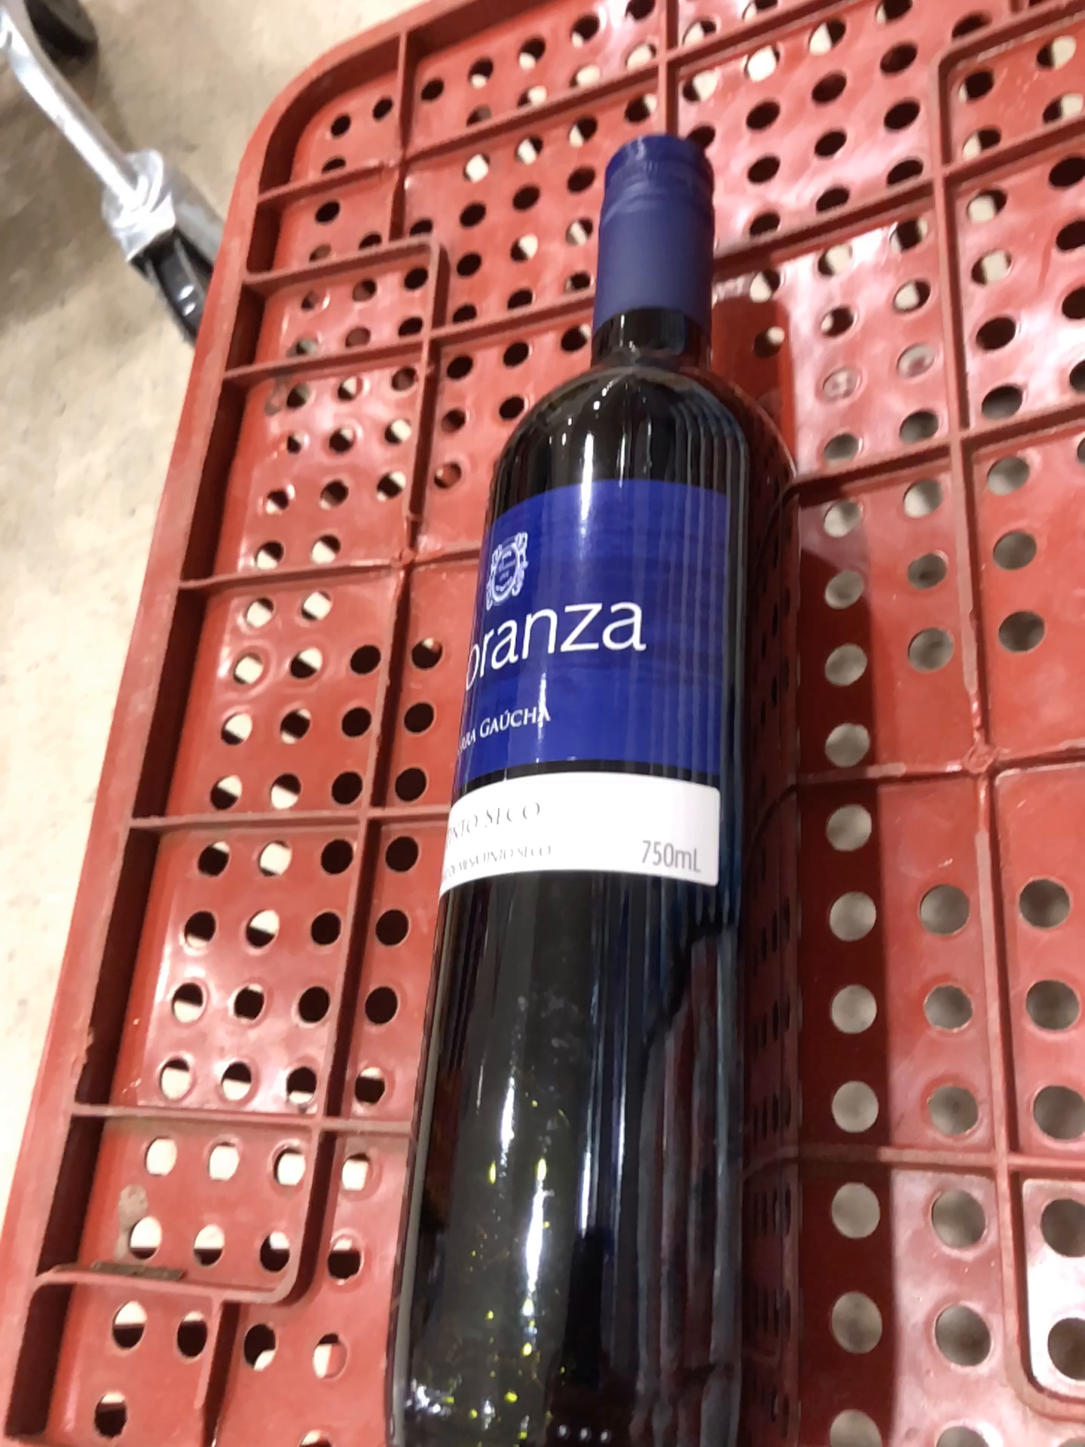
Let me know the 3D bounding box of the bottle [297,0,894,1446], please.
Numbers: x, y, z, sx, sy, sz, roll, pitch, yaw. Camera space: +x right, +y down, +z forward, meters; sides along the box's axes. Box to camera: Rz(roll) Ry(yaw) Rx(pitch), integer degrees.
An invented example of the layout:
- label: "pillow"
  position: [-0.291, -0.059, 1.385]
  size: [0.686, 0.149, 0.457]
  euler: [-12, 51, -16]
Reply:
- label: "bottle"
  position: [0.015, -0.014, 0.256]
  size: [0.080, 0.060, 0.301]
  euler: [-21, 57, 46]
